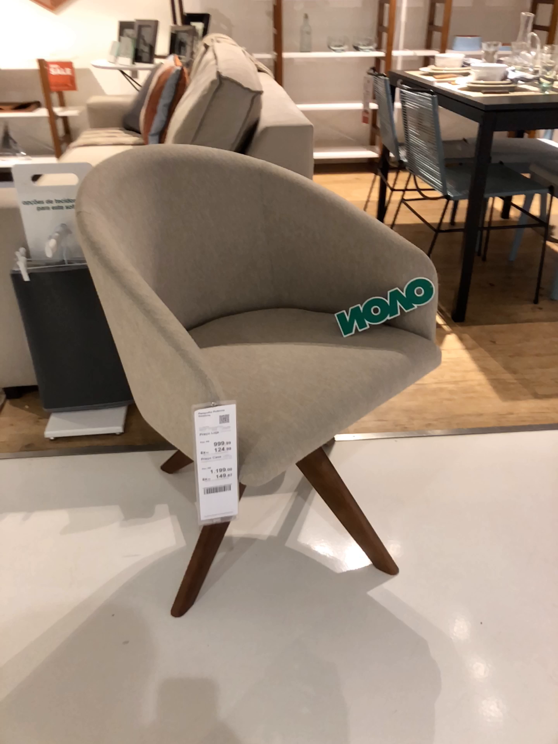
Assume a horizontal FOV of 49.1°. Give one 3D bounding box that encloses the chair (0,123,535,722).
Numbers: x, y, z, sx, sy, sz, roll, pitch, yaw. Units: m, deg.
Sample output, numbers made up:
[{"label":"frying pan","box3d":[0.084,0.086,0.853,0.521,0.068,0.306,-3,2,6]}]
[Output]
[{"label":"chair","box3d":[-0.051,-0.010,1.257,0.713,0.794,0.693,26,39,38]}]
